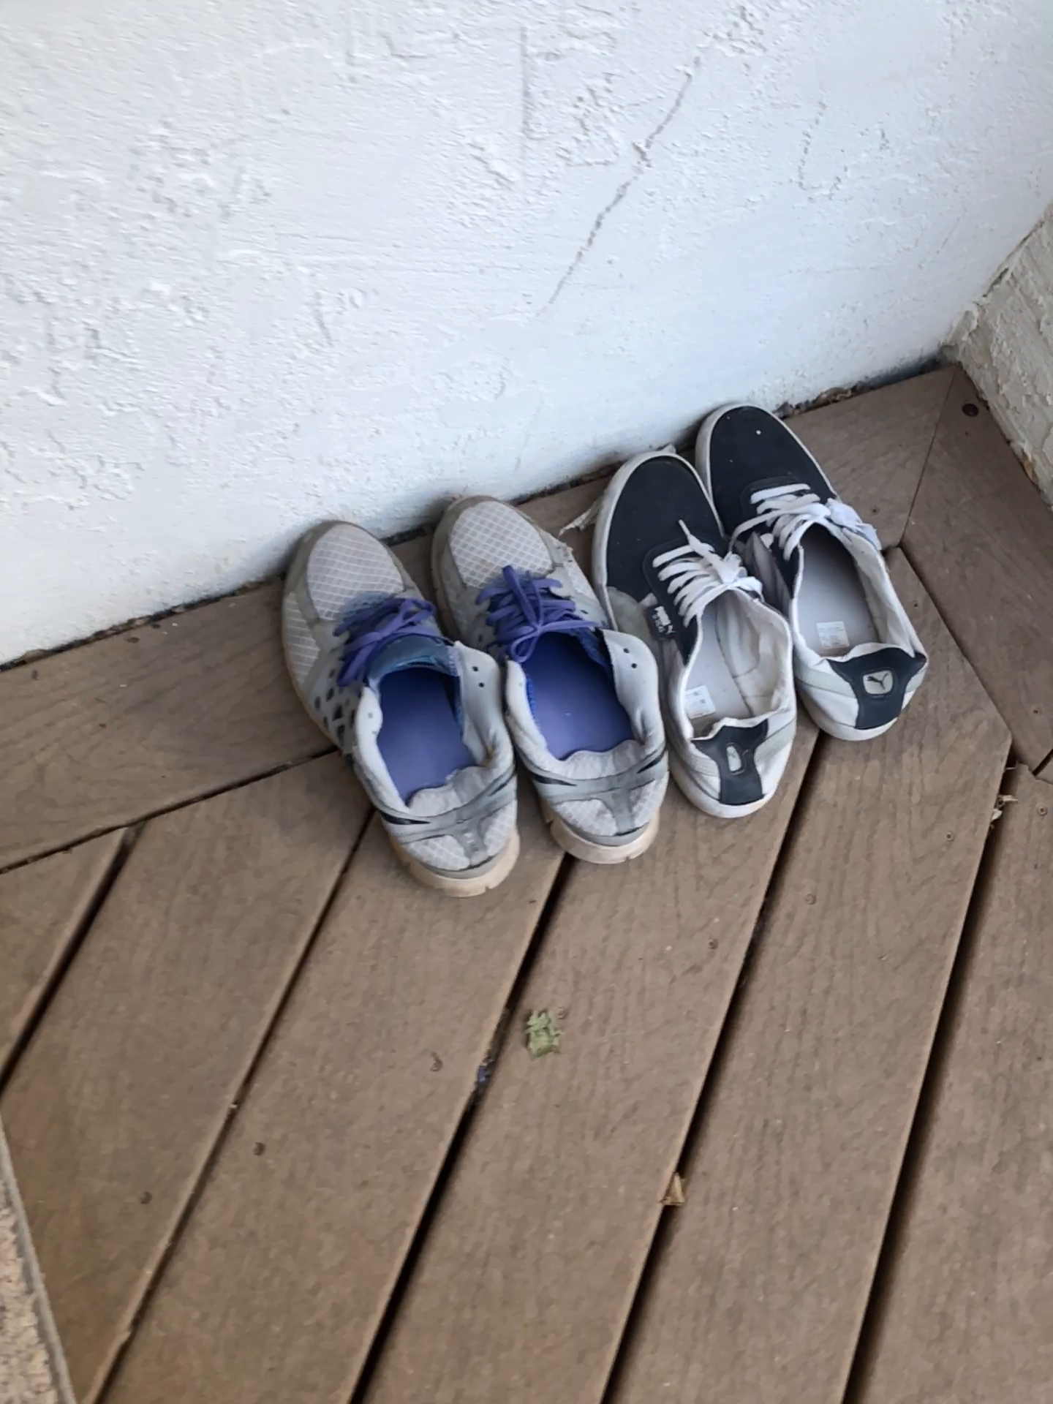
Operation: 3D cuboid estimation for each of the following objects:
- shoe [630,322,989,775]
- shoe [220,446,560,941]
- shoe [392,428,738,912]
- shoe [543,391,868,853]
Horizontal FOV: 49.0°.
[{"bbox_3d":[0.213,-0.125,0.919,0.120,0.100,0.330,-20,73,-13],"label":"shoe"},{"bbox_3d":[-0.102,-0.009,0.830,0.120,0.100,0.320,-21,73,-13],"label":"shoe"},{"bbox_3d":[0.017,-0.026,0.848,0.120,0.100,0.320,-21,73,-13],"label":"shoe"},{"bbox_3d":[0.124,-0.064,0.880,0.120,0.100,0.320,-15,72,-11],"label":"shoe"}]
